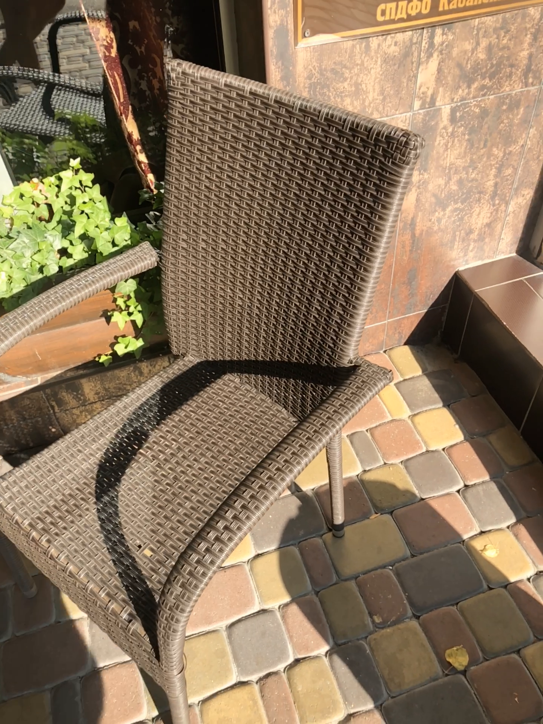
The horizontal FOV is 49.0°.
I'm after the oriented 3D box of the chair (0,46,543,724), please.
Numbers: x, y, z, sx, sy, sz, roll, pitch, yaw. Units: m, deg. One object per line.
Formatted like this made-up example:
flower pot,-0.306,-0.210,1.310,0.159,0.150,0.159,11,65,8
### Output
chair,-0.098,0.109,1.028,0.611,0.906,0.722,30,55,28
